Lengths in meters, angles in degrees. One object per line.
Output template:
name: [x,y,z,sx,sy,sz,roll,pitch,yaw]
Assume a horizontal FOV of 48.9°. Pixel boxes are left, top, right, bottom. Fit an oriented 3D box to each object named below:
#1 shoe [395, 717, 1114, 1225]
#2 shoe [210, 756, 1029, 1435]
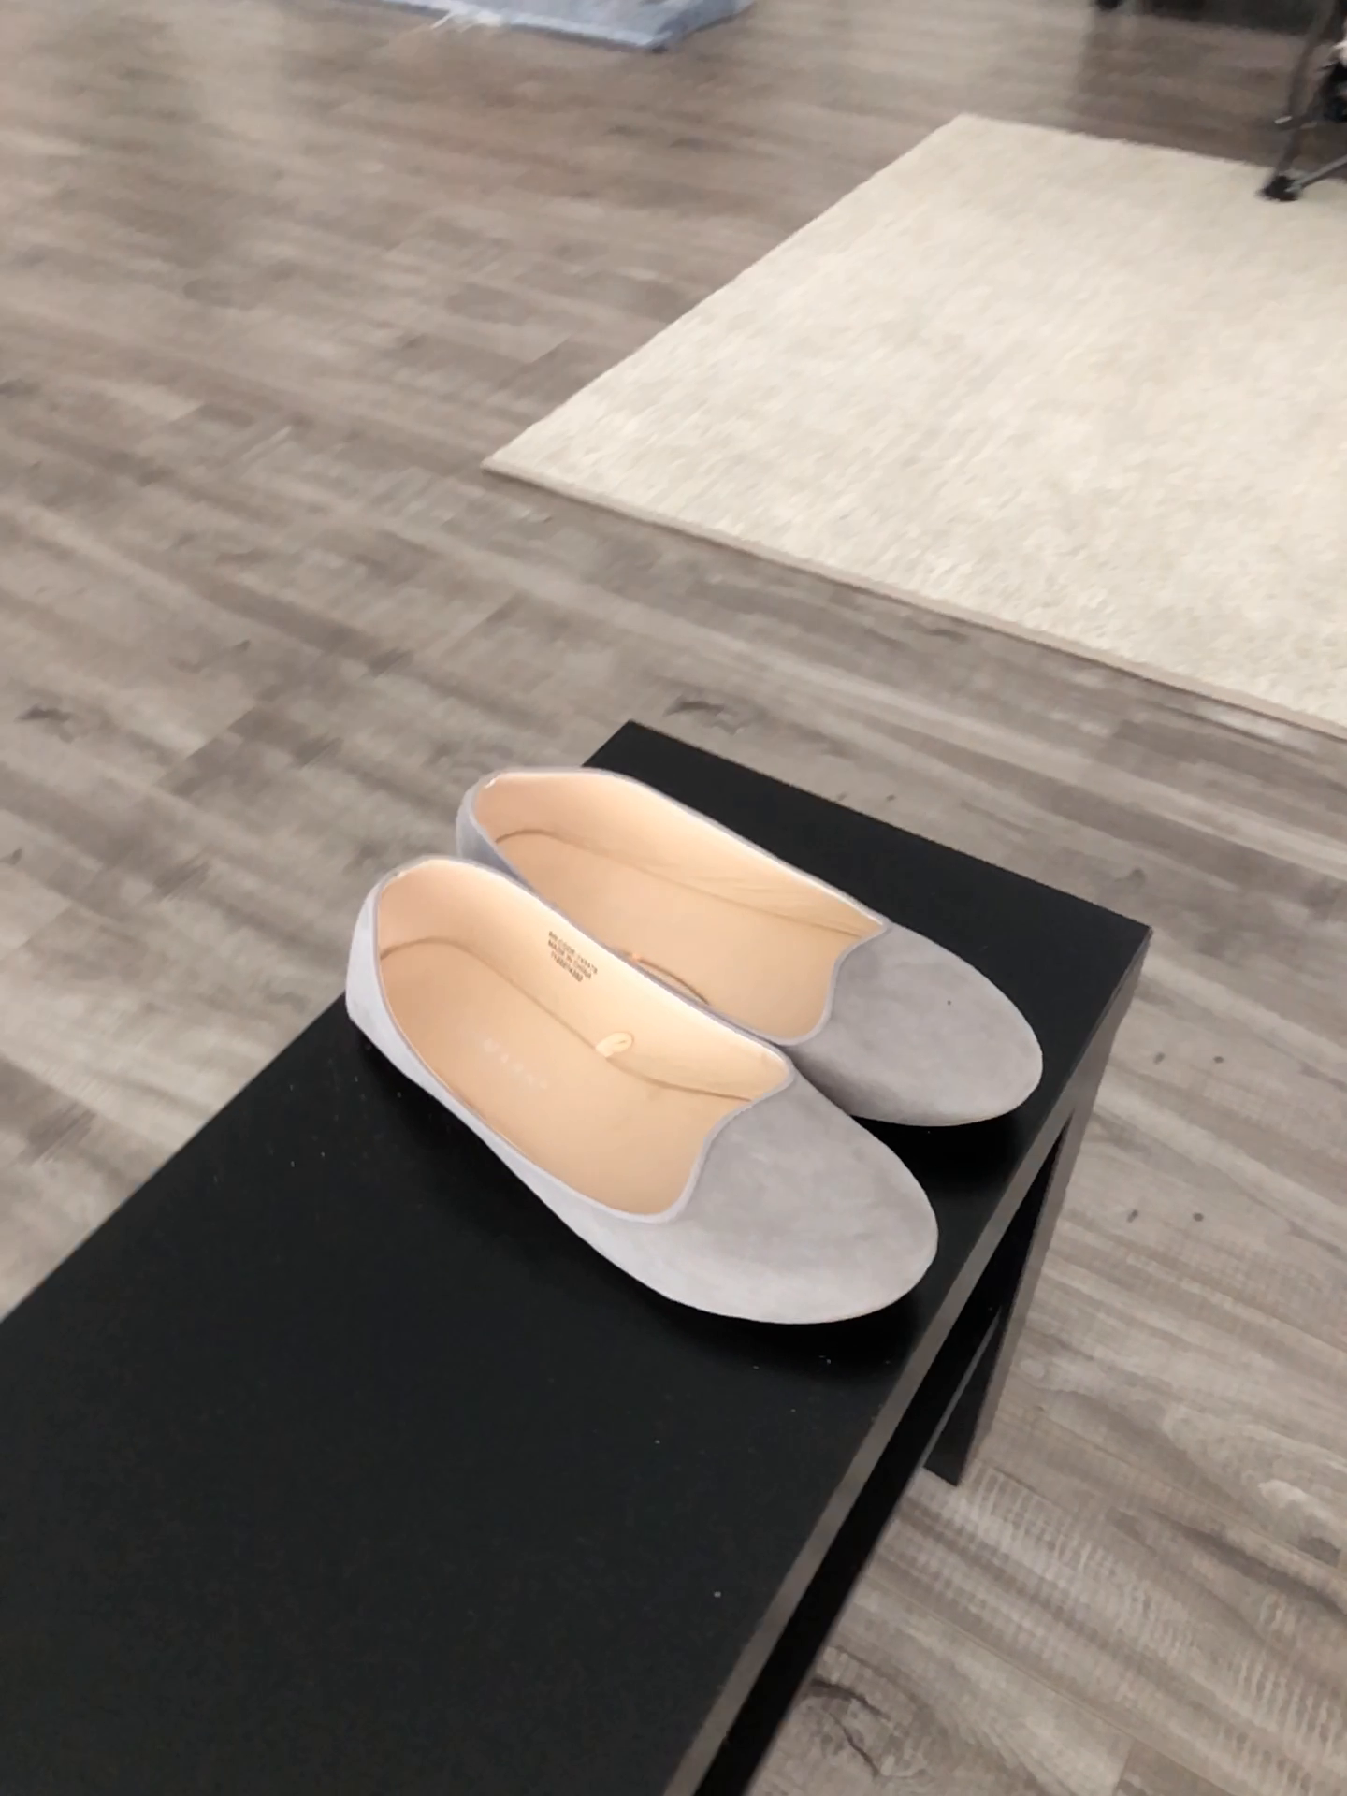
shoe: [0.027,0.019,0.573,0.251,0.060,0.100,22,49,22]
shoe: [-0.023,0.056,0.509,0.254,0.090,0.100,25,50,24]
